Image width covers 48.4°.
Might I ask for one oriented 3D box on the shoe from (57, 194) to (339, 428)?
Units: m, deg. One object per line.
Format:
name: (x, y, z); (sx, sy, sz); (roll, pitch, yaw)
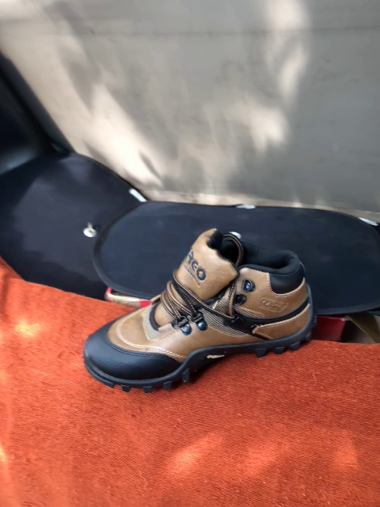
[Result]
shoe: (0.012, 0.057, 0.481); (0.270, 0.149, 0.110); (-18, 39, -14)
